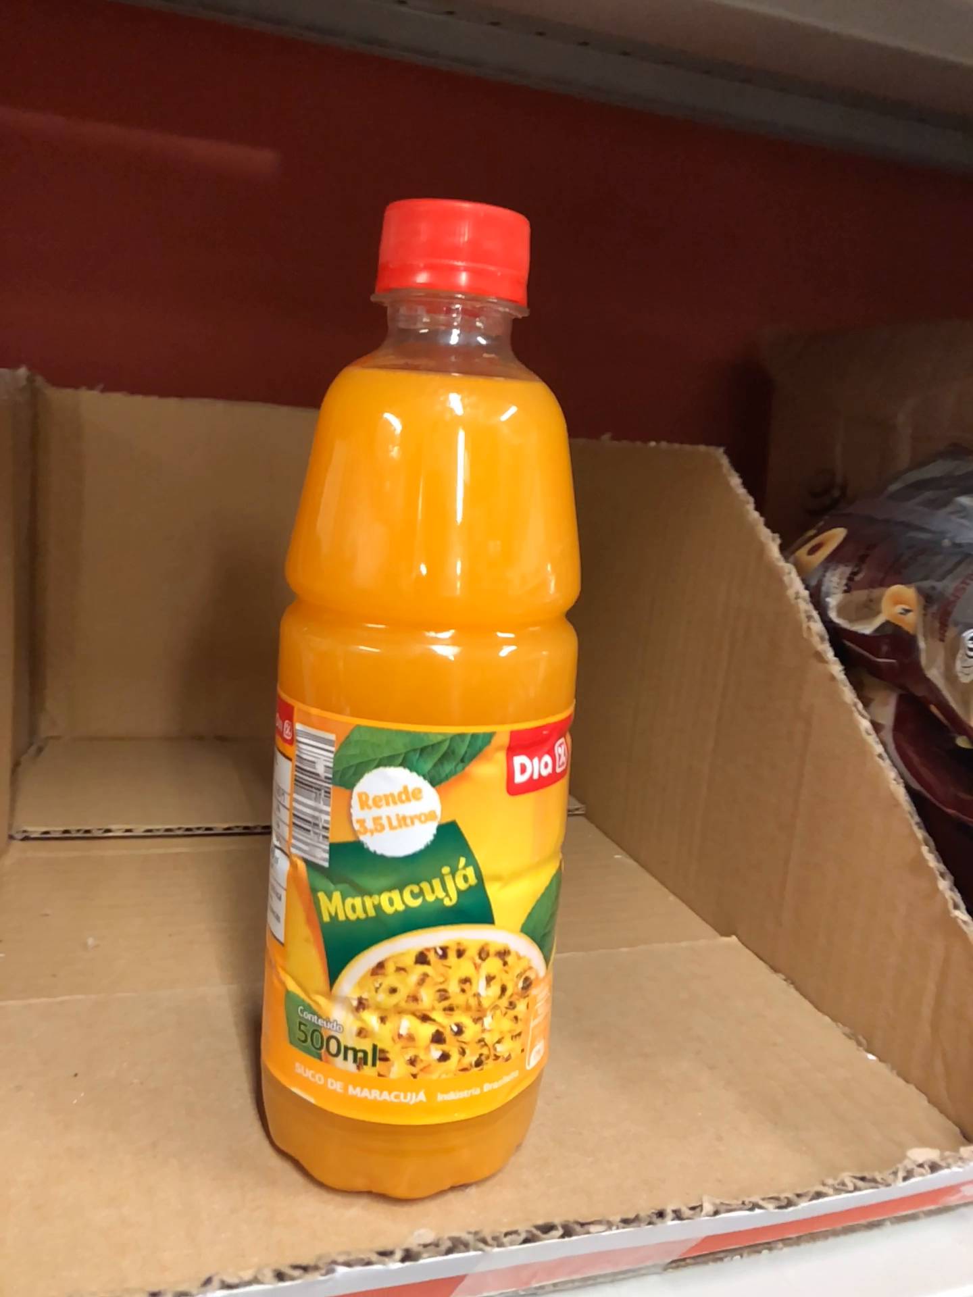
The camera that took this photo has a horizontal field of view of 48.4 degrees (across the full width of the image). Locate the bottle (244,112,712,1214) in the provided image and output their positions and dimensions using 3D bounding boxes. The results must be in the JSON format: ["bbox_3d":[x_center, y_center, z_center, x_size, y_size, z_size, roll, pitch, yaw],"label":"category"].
[{"bbox_3d":[-0.010,0.006,0.231,0.070,0.199,0.070,5,11,-1],"label":"bottle"}]
